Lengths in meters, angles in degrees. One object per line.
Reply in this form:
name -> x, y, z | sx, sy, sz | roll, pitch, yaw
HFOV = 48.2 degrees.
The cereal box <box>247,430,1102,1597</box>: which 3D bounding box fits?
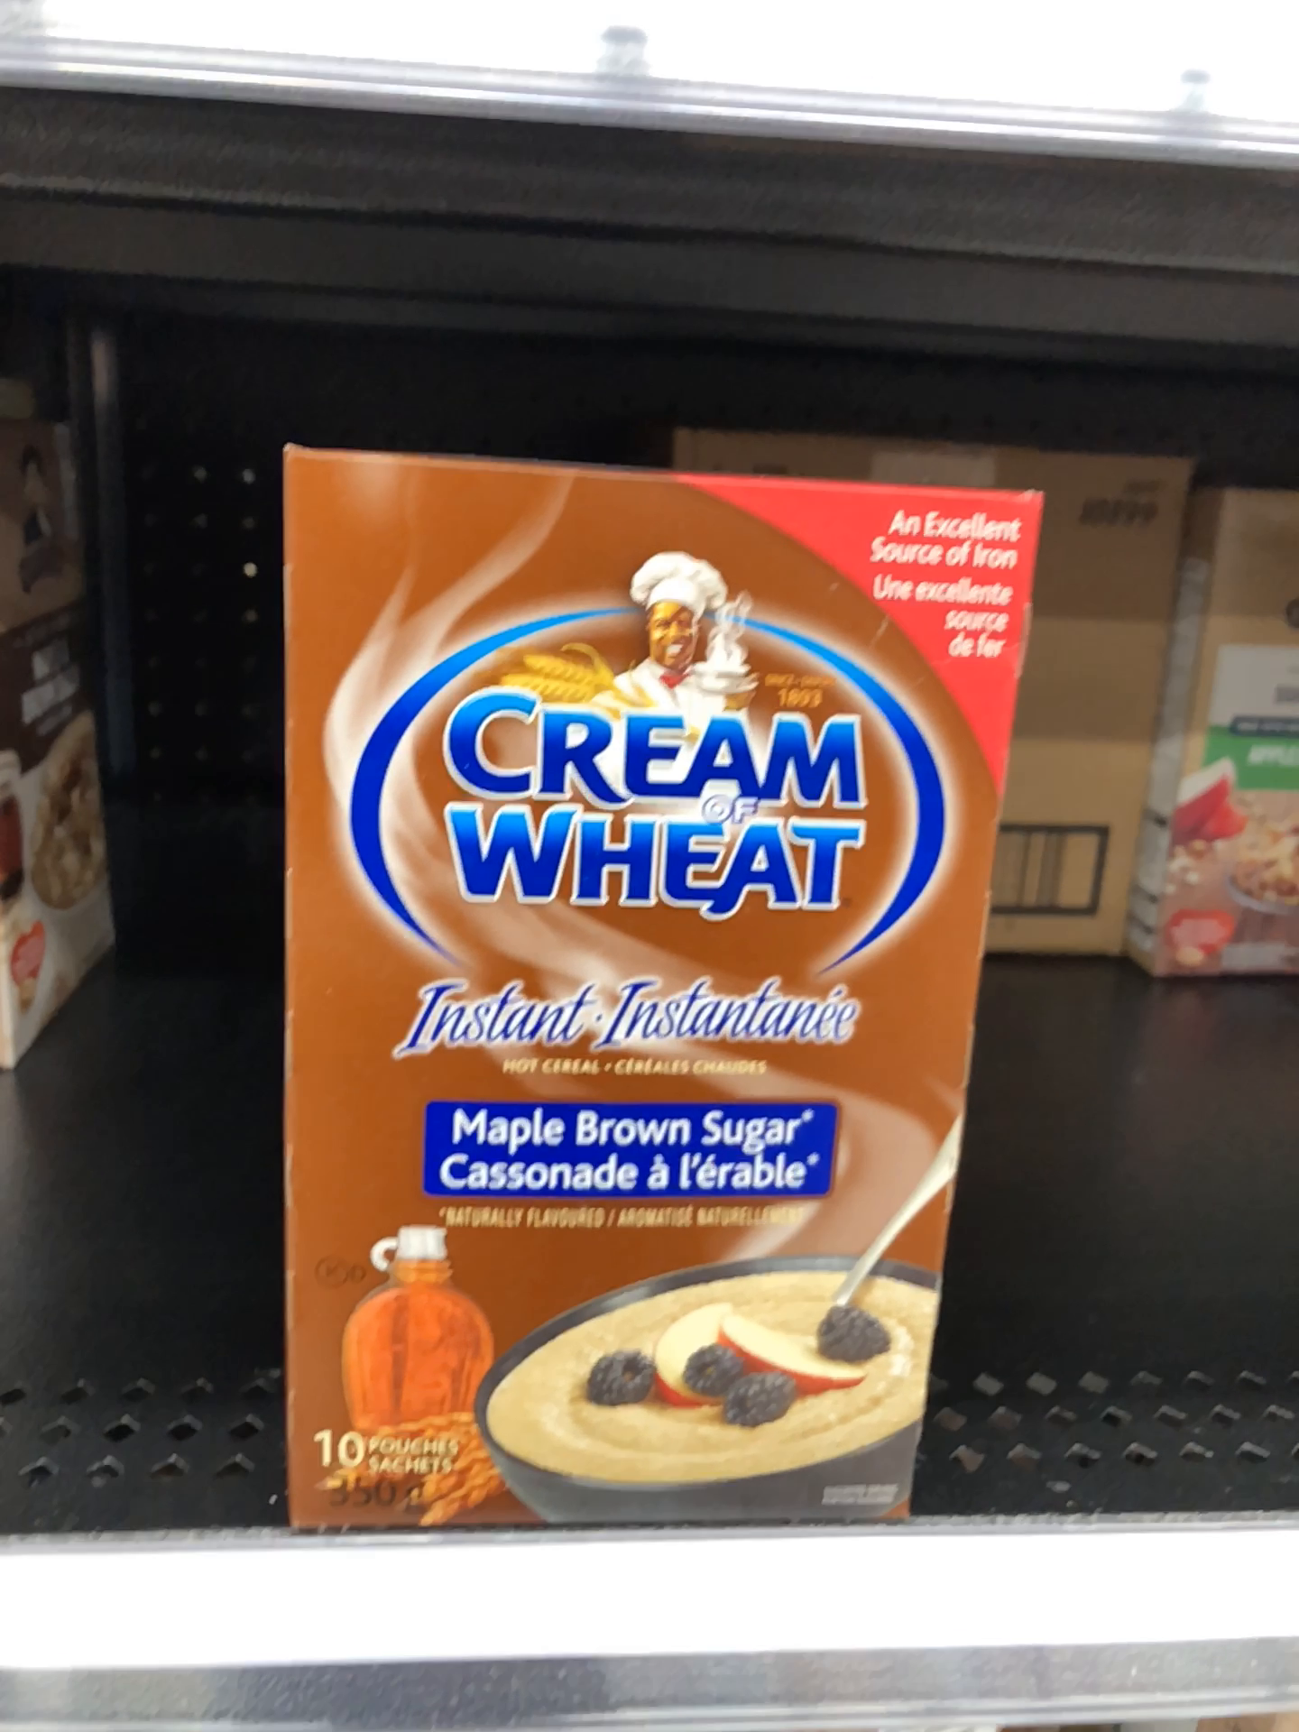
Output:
cereal box -> -0.002, 0.030, 0.278 | 0.130, 0.209, 0.060 | 1, 17, -6
